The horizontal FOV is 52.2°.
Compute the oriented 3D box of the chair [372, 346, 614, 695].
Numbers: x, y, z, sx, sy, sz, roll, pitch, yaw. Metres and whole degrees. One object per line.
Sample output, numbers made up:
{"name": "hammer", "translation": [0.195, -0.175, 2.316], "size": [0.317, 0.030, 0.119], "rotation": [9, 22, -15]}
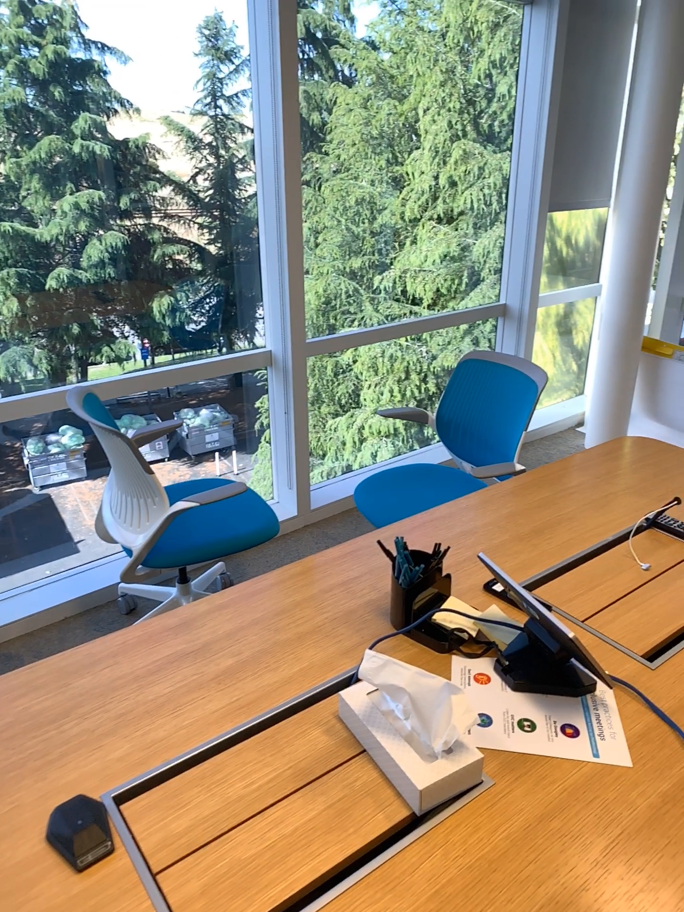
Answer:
{"name": "chair", "translation": [0.539, 0.213, 2.708], "size": [0.630, 1.094, 0.543], "rotation": [-14, 27, -29]}

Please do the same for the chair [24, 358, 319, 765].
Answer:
{"name": "chair", "translation": [-0.538, 0.291, 2.346], "size": [0.641, 1.014, 0.653], "rotation": [-19, 30, -37]}

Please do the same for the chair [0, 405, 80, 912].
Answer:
{"name": "chair", "translation": [-1.438, 0.574, 2.079], "size": [0.873, 1.134, 0.731], "rotation": [18, 29, 35]}
